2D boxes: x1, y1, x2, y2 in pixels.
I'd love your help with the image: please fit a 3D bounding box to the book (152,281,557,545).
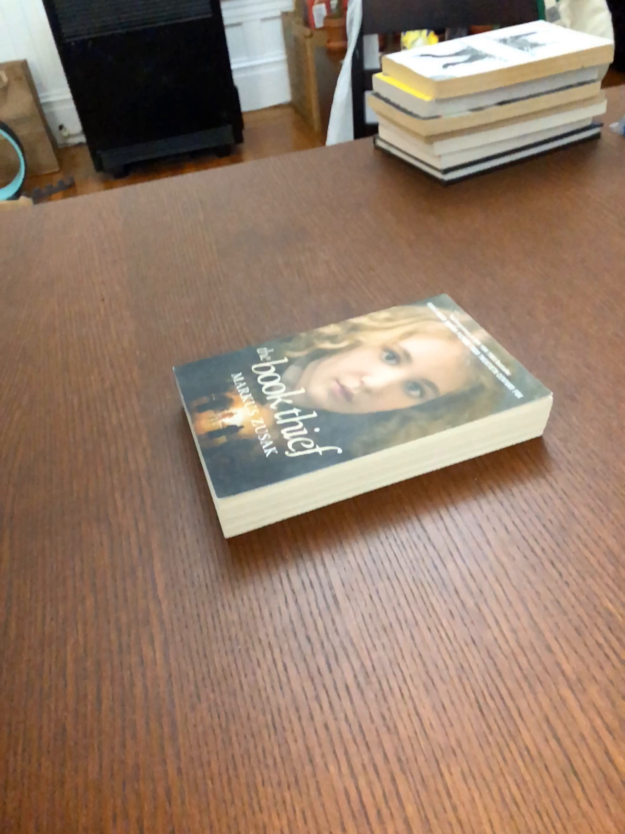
[{"bbox_3d":[0.018,-0.015,0.452,0.220,0.030,0.151,-17,41,-10],"label":"book"}]
